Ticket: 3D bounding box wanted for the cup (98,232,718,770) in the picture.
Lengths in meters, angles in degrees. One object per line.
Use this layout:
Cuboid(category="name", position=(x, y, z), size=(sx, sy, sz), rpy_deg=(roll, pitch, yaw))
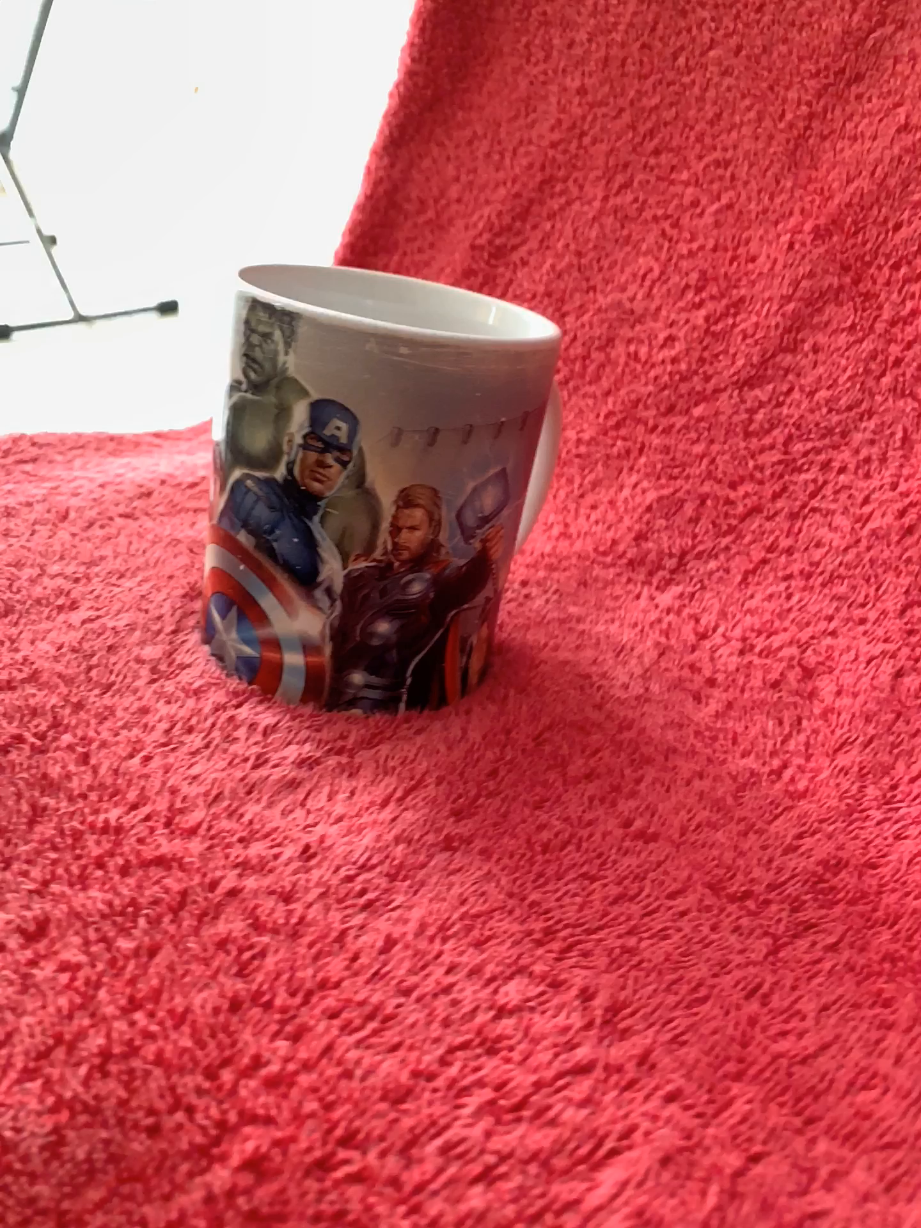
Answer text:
Cuboid(category="cup", position=(-0.015, -0.040, 0.254), size=(0.120, 0.089, 0.090), rpy_deg=(-18, 42, -43))
